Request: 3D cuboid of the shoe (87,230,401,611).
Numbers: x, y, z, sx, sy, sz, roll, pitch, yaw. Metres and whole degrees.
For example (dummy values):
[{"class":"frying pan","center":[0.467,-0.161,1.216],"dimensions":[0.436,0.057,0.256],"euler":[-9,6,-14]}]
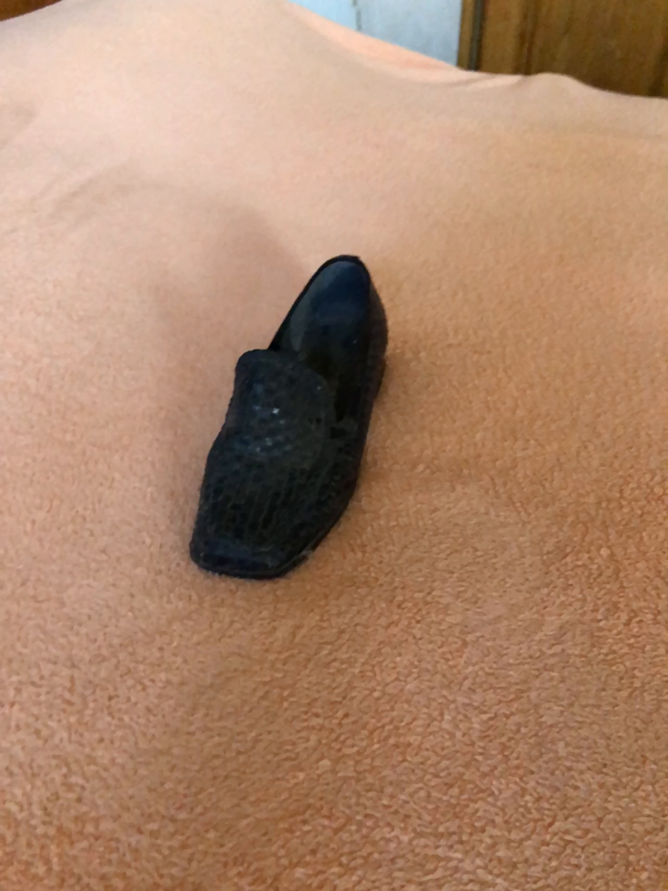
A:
[{"class":"shoe","center":[-0.034,-0.038,0.478],"dimensions":[0.100,0.089,0.272],"euler":[9,41,13]}]
